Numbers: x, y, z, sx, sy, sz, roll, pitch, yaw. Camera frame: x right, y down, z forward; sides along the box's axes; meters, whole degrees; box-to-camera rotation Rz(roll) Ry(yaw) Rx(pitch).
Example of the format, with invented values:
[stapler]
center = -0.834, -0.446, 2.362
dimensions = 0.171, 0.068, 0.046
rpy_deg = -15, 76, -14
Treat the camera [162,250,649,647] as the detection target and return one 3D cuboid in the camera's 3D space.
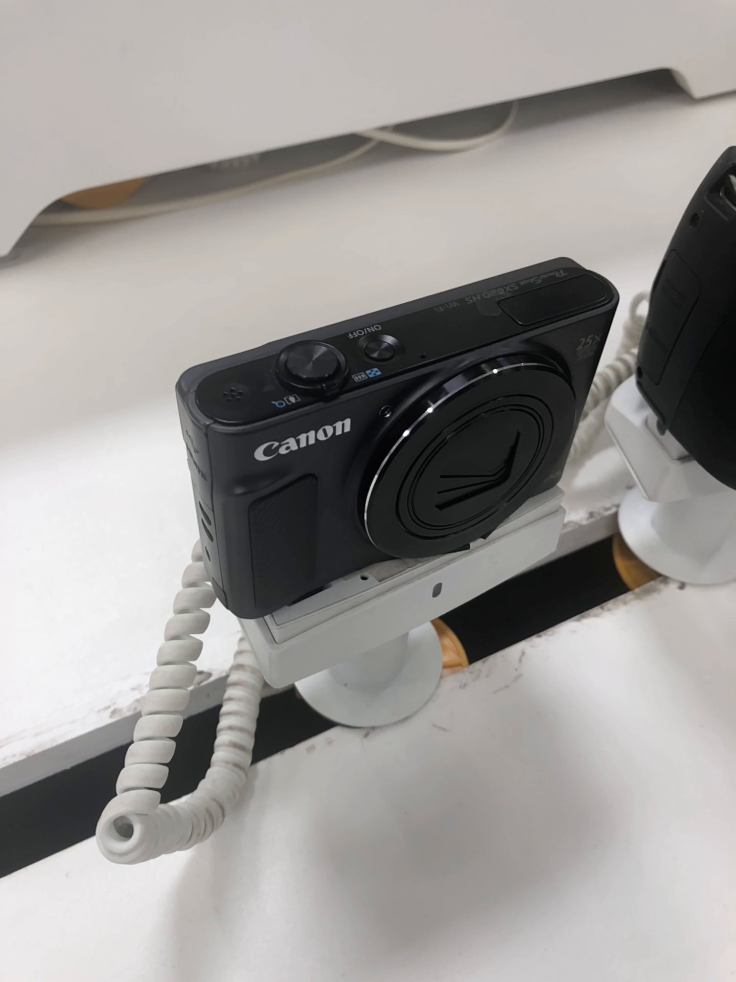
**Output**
[camera]
center = 0.008, -0.010, 0.178
dimensions = 0.093, 0.057, 0.025
rpy_deg = -22, 56, -21
